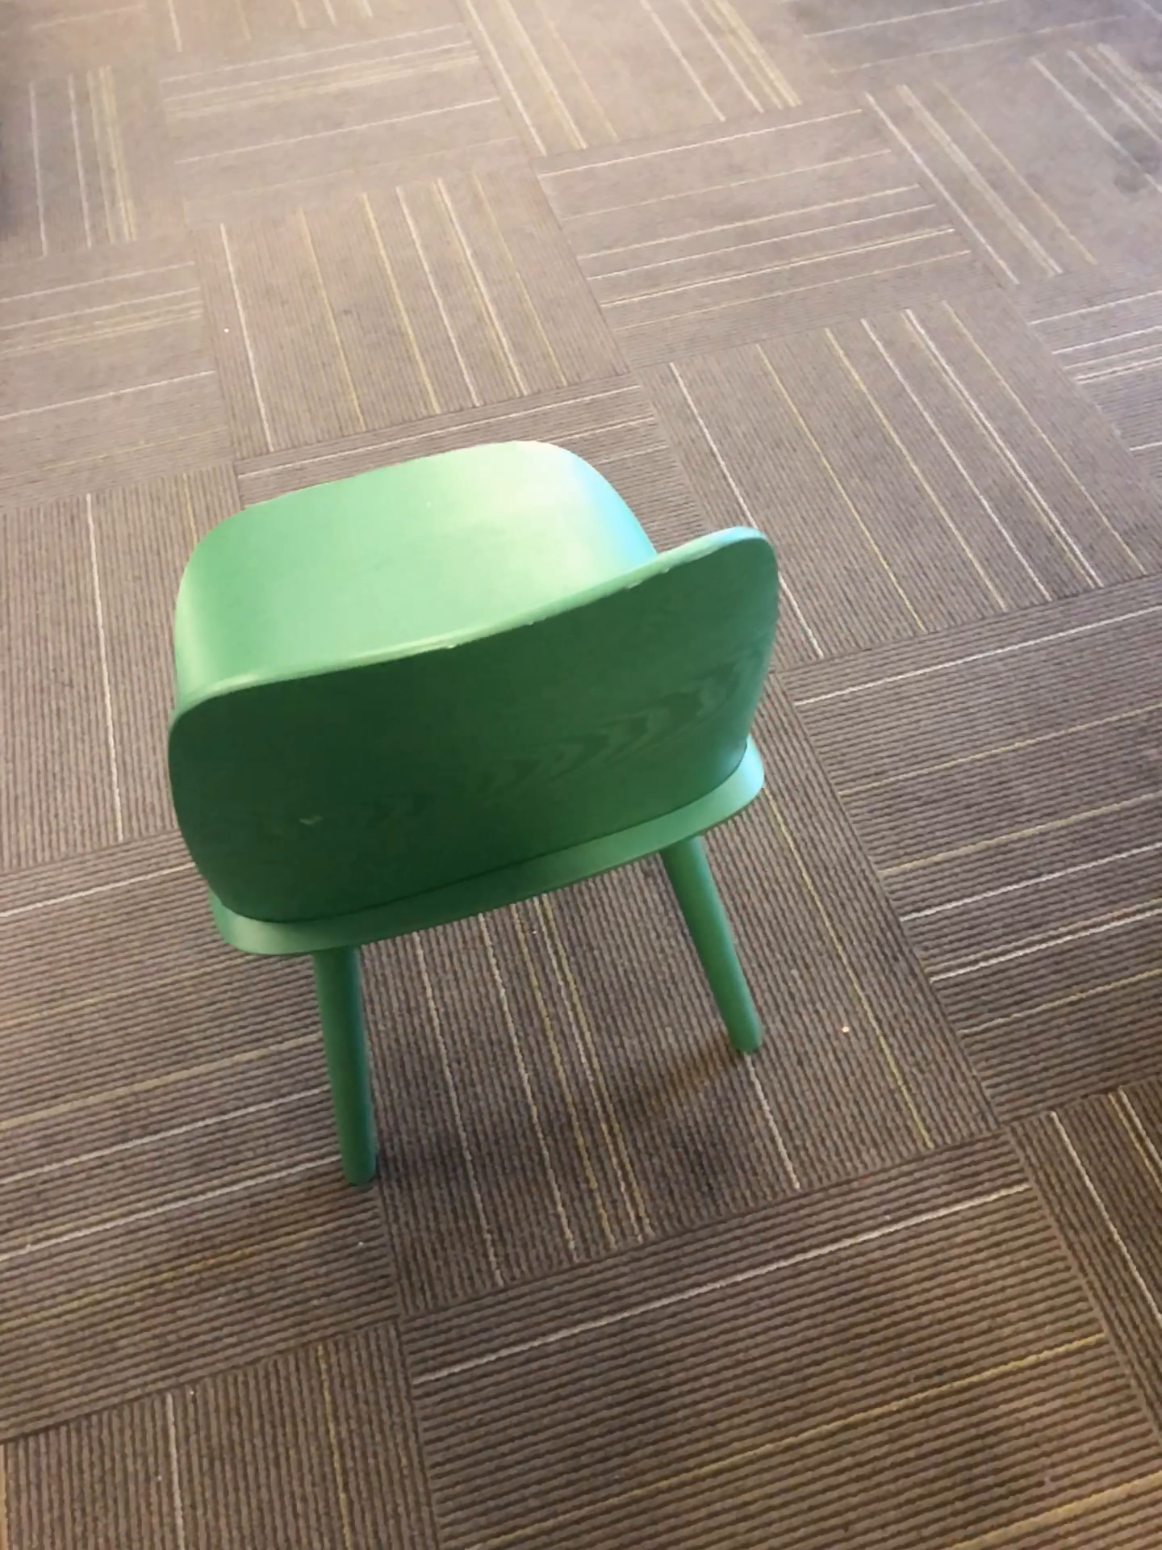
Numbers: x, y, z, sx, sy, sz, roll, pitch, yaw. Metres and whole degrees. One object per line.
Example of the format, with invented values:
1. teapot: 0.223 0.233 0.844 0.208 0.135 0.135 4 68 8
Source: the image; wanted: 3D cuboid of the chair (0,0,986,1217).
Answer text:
1. chair: -0.102 -0.081 1.040 0.500 0.777 0.502 -16 55 -8
